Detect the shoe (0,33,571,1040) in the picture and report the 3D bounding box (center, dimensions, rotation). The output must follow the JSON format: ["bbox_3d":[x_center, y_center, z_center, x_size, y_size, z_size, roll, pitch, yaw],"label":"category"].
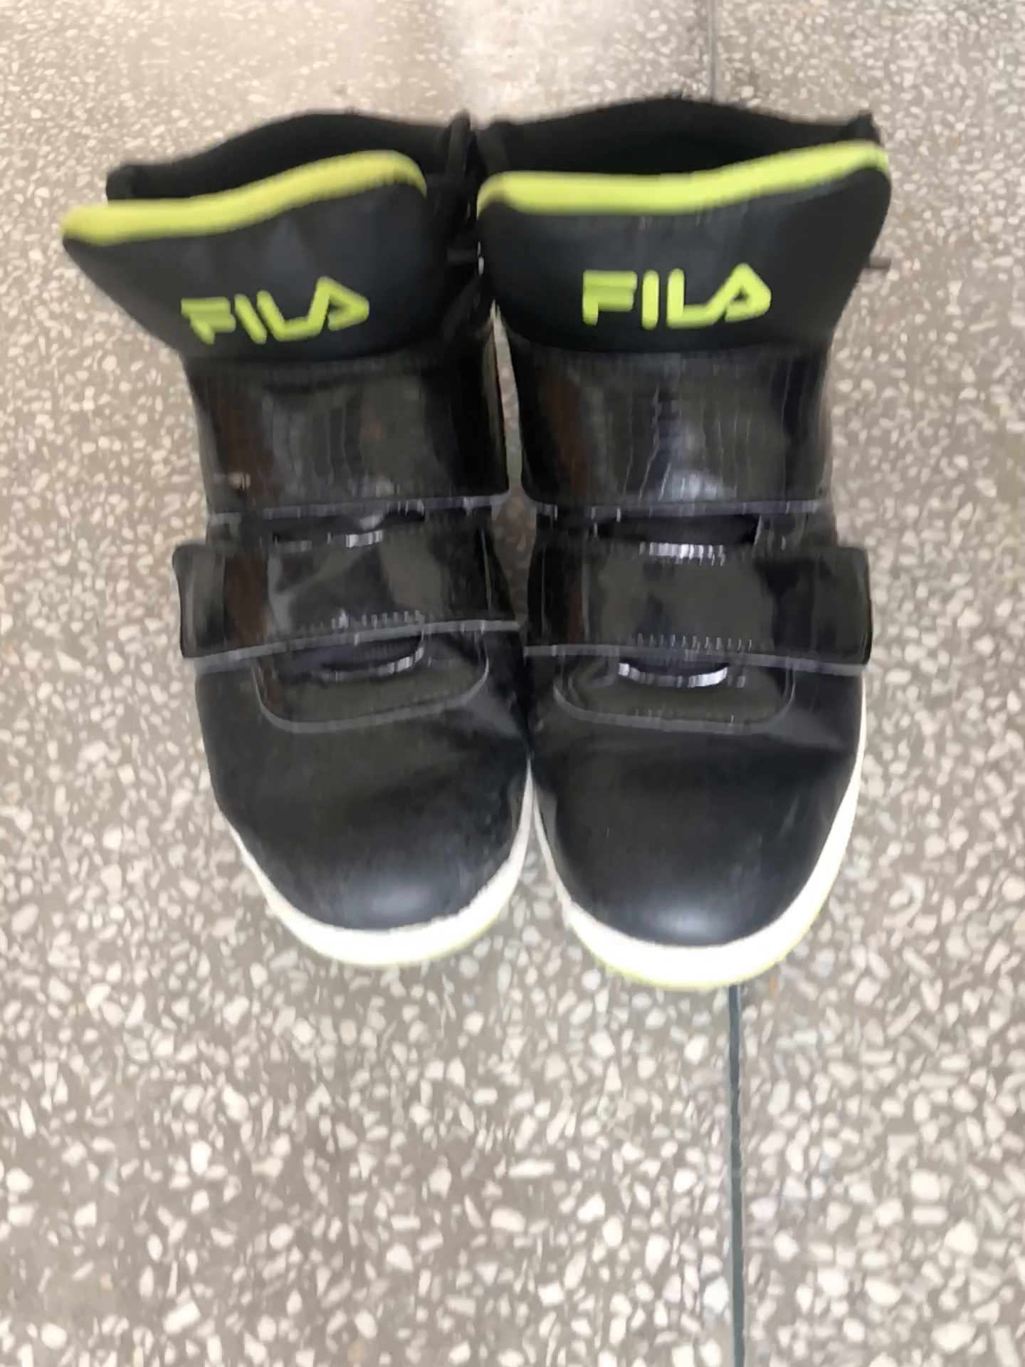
[{"bbox_3d":[-0.061,-0.051,0.359,0.120,0.147,0.270,-7,57,0],"label":"shoe"}]

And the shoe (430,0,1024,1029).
[{"bbox_3d":[0.051,-0.049,0.325,0.120,0.147,0.250,-2,57,4],"label":"shoe"}]
